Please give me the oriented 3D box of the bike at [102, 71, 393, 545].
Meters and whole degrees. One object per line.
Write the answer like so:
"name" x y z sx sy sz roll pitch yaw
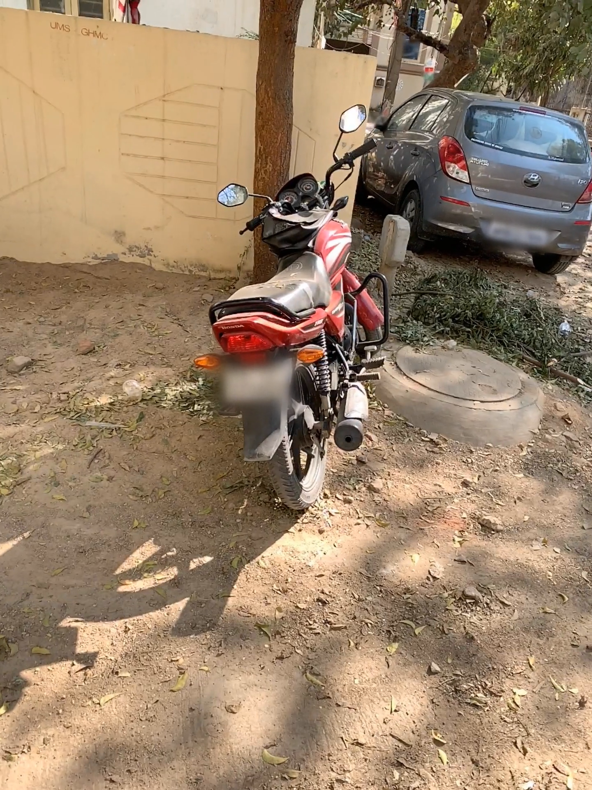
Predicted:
"bike" -0.153 -0.541 2.520 0.775 1.179 1.650 7 32 1
